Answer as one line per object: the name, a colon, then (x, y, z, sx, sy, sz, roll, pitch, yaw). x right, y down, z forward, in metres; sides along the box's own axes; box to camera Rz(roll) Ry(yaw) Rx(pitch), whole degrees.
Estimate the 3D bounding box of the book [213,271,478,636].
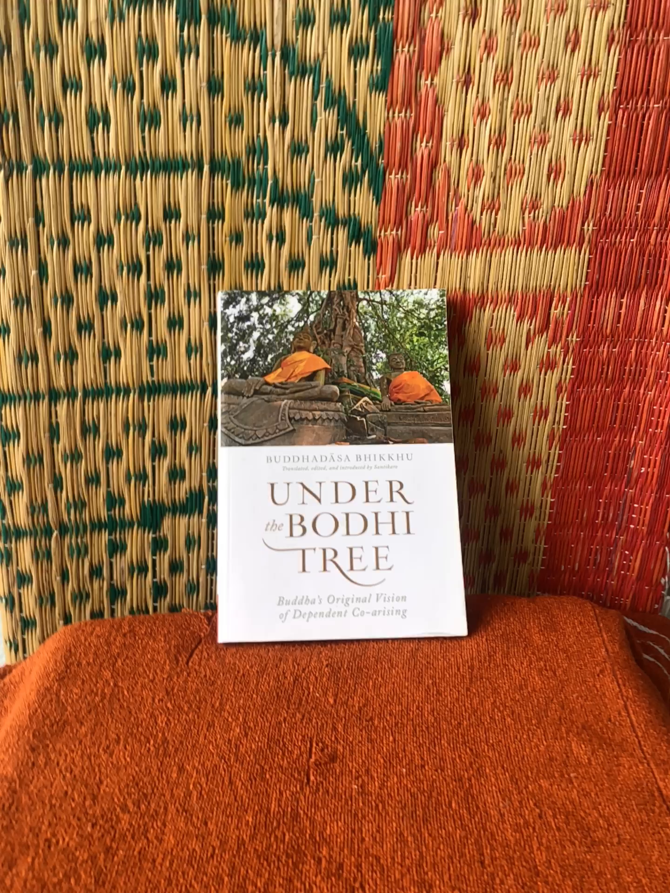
book: (0.003, 0.001, 0.482, 0.160, 0.231, 0.030, -1, -11, -3)
